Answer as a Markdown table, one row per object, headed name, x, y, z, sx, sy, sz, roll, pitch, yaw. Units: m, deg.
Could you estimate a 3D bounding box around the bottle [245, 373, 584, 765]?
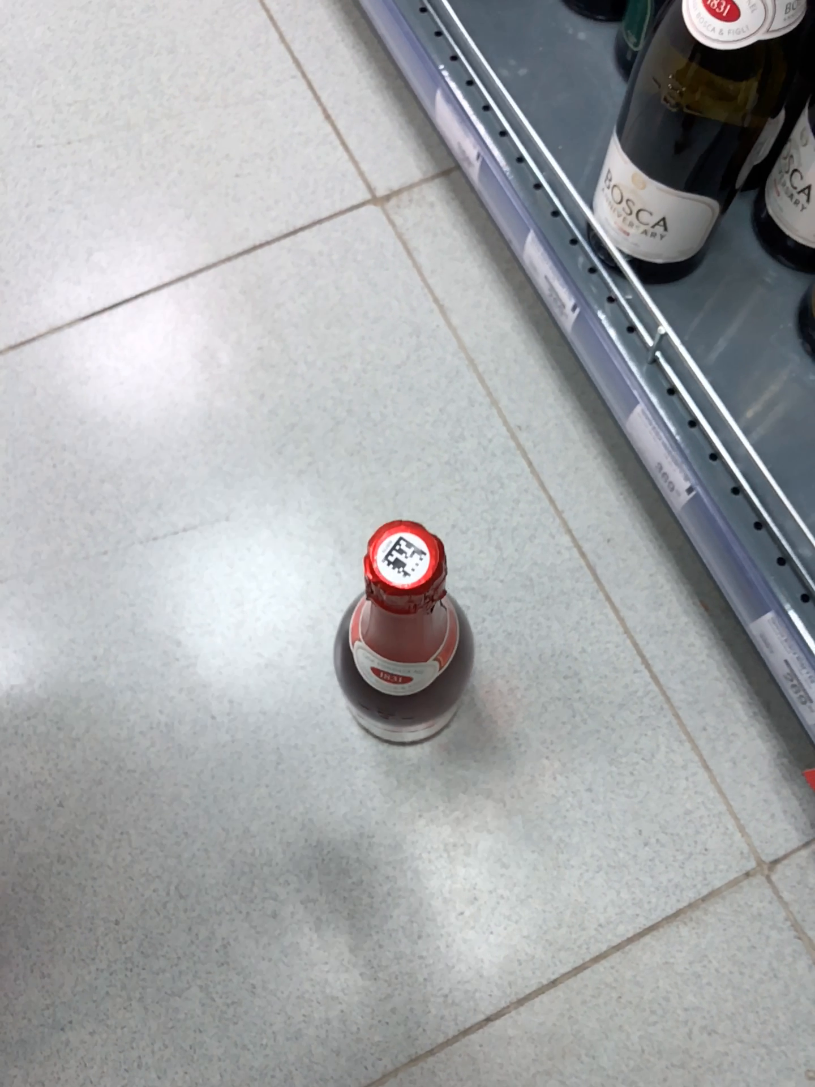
| name | x | y | z | sx | sy | sz | roll | pitch | yaw |
| --- | --- | --- | --- | --- | --- | --- | --- | --- | --- |
| bottle | 0.004 | 0.042 | 0.499 | 0.100 | 0.318 | 0.100 | 0 | 72 | 0 |
